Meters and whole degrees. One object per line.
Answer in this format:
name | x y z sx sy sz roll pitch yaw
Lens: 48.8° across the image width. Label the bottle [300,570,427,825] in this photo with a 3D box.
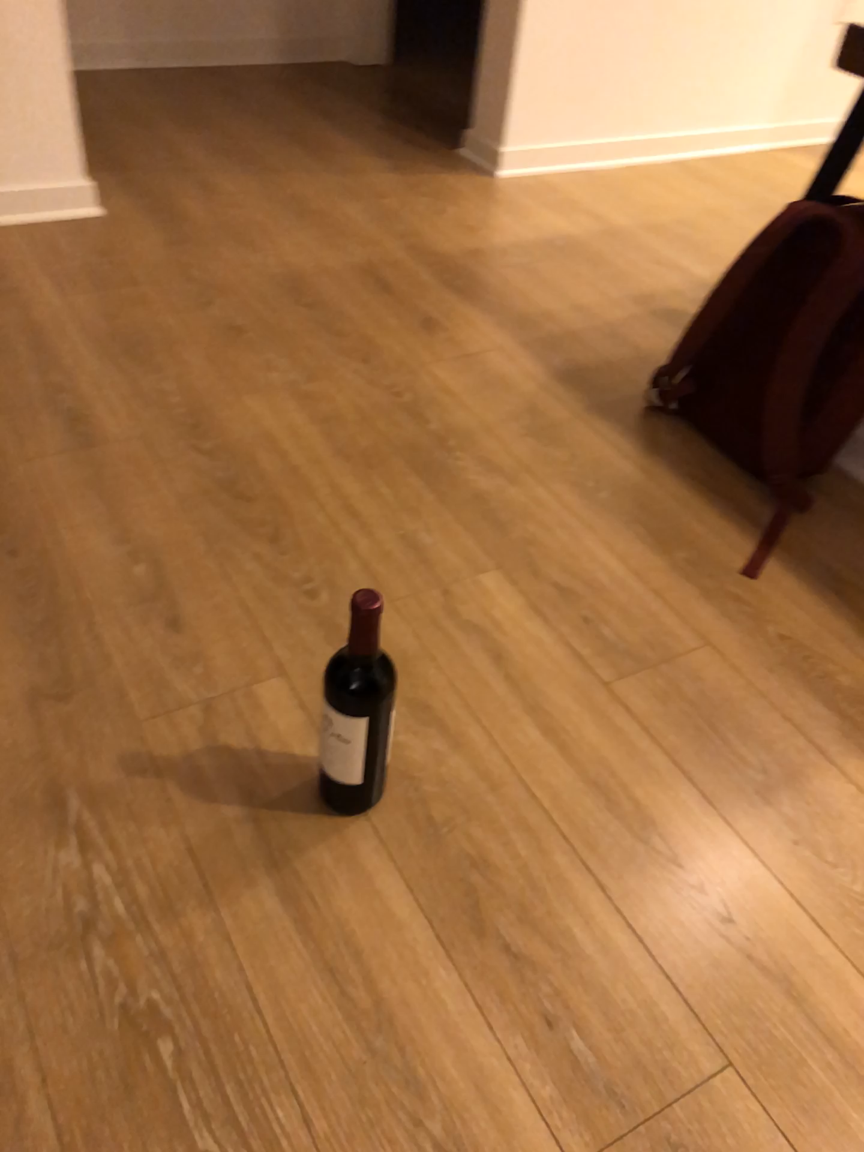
bottle | -0.080 0.133 1.006 0.100 0.259 0.110 -6 42 -15
